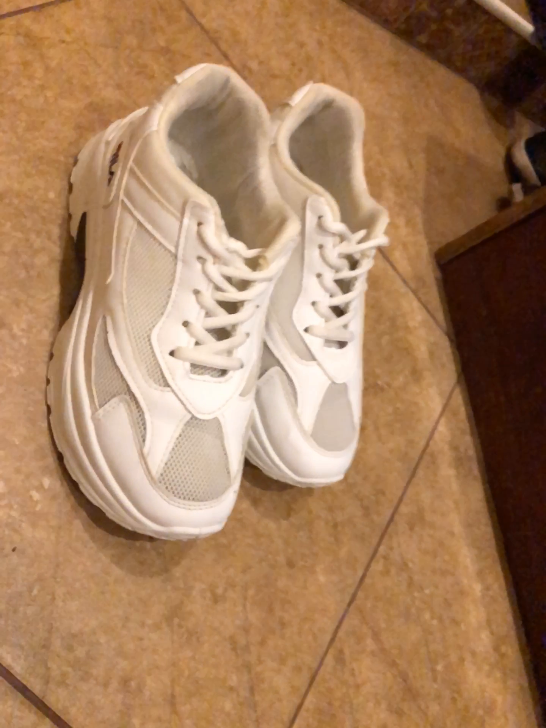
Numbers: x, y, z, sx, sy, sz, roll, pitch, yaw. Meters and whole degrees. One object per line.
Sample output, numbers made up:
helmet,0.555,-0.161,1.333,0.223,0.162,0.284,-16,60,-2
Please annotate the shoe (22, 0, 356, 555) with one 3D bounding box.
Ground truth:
shoe,-0.054,-0.036,0.316,0.110,0.109,0.240,8,66,-36

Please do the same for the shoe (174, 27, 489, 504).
shoe,0.024,-0.052,0.381,0.110,0.109,0.250,6,67,-37
